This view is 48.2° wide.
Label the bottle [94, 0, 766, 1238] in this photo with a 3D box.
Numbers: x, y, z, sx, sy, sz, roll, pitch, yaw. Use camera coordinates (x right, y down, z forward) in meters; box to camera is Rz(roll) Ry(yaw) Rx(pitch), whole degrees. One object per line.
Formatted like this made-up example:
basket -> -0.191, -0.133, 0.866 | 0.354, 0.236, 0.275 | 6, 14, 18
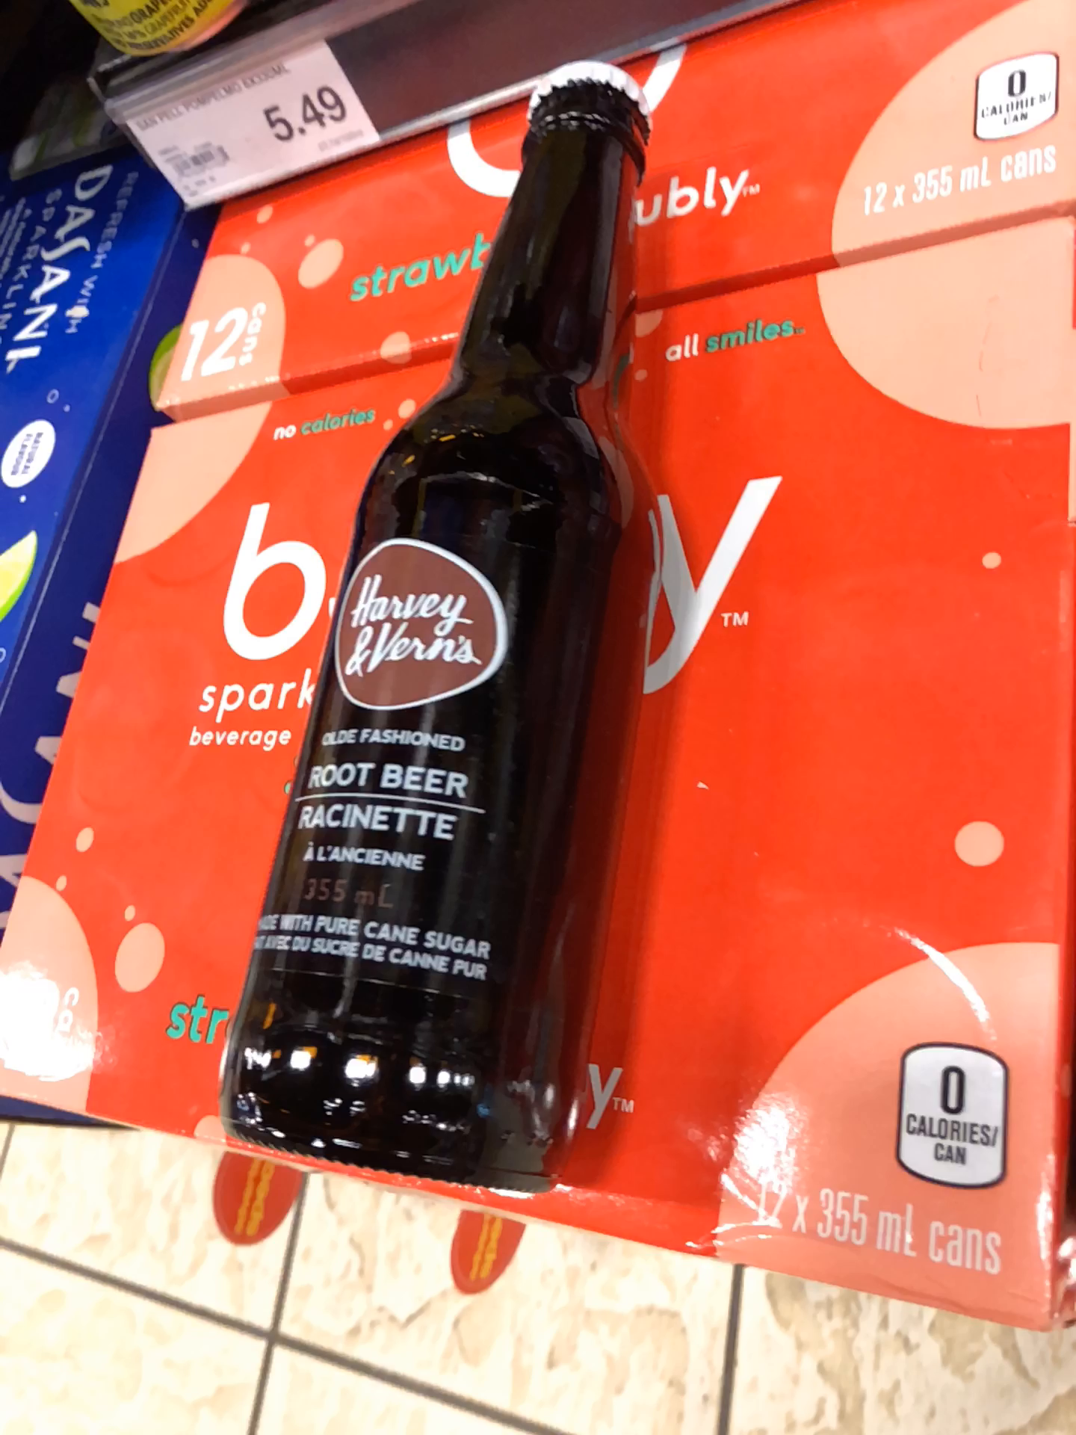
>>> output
bottle -> -0.008, -0.031, 0.229 | 0.060, 0.070, 0.230 | -2, 70, 31
